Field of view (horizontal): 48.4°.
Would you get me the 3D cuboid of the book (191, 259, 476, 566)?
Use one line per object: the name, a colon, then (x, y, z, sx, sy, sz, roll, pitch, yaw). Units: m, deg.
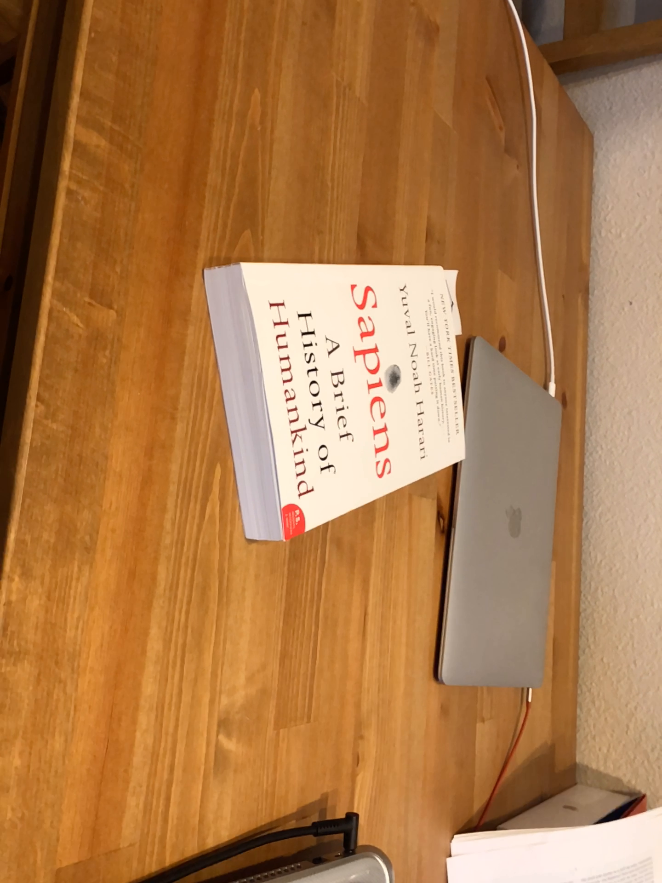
book: (0.021, -0.036, 0.514, 0.251, 0.040, 0.170, -18, 102, -53)
